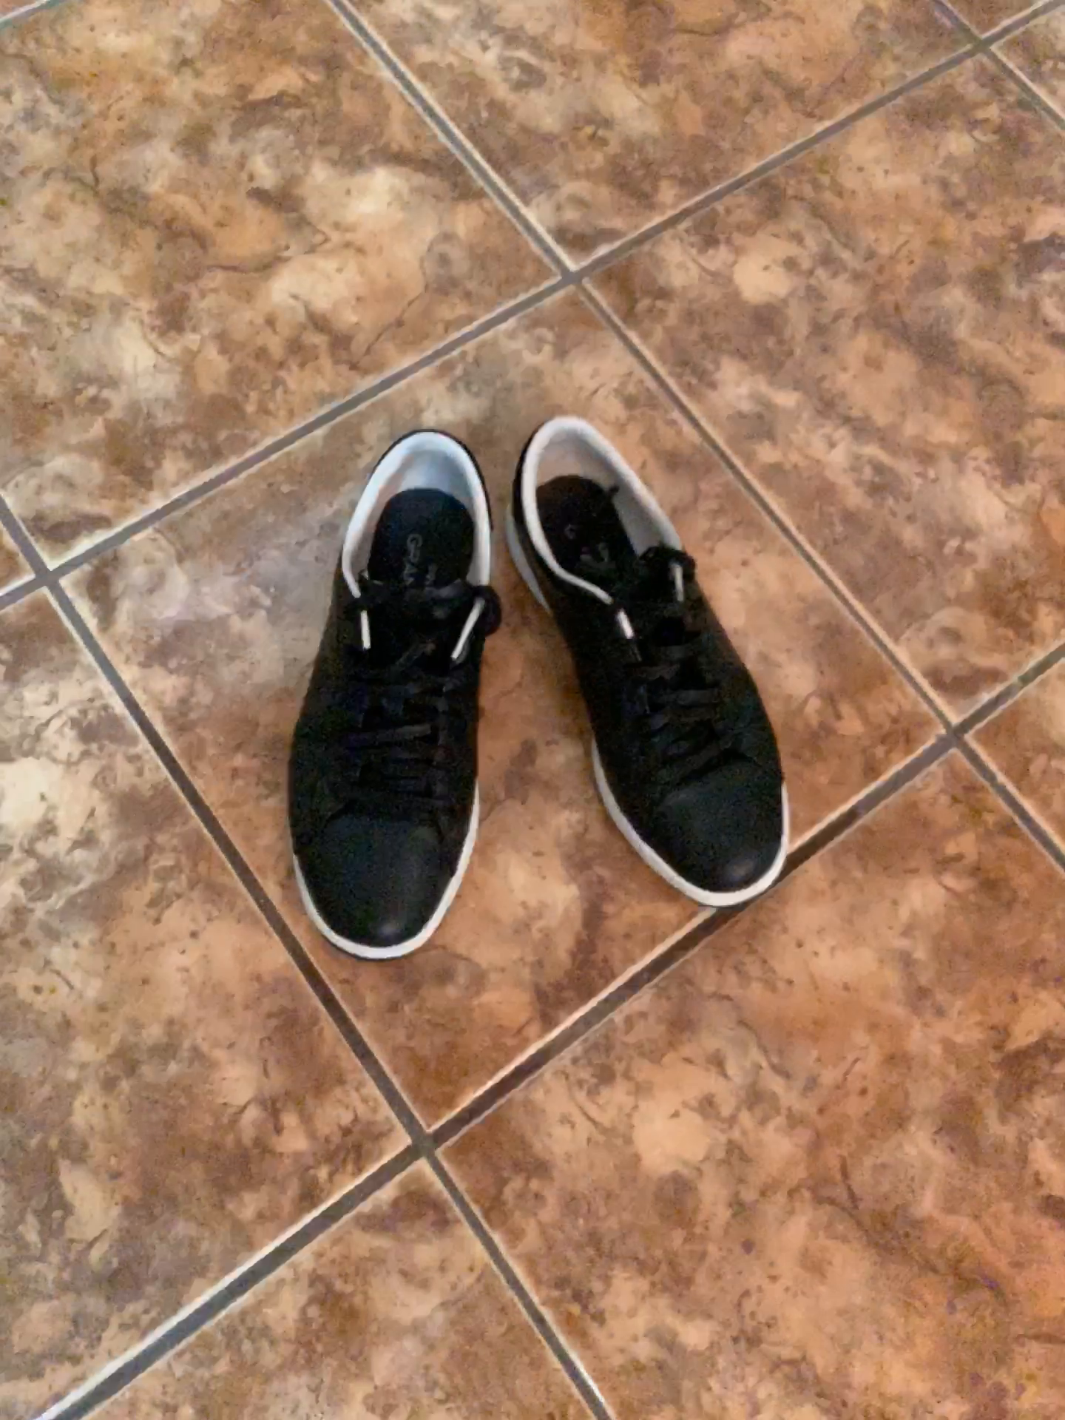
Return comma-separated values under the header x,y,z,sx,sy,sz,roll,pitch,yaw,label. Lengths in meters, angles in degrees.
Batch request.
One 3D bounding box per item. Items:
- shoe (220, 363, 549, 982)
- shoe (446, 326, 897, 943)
x,y,z,sx,sy,sz,roll,pitch,yaw,label
-0.058,-0.017,0.499,0.087,0.093,0.255,10,70,-1,shoe
0.050,-0.034,0.513,0.090,0.103,0.255,-22,74,-11,shoe
